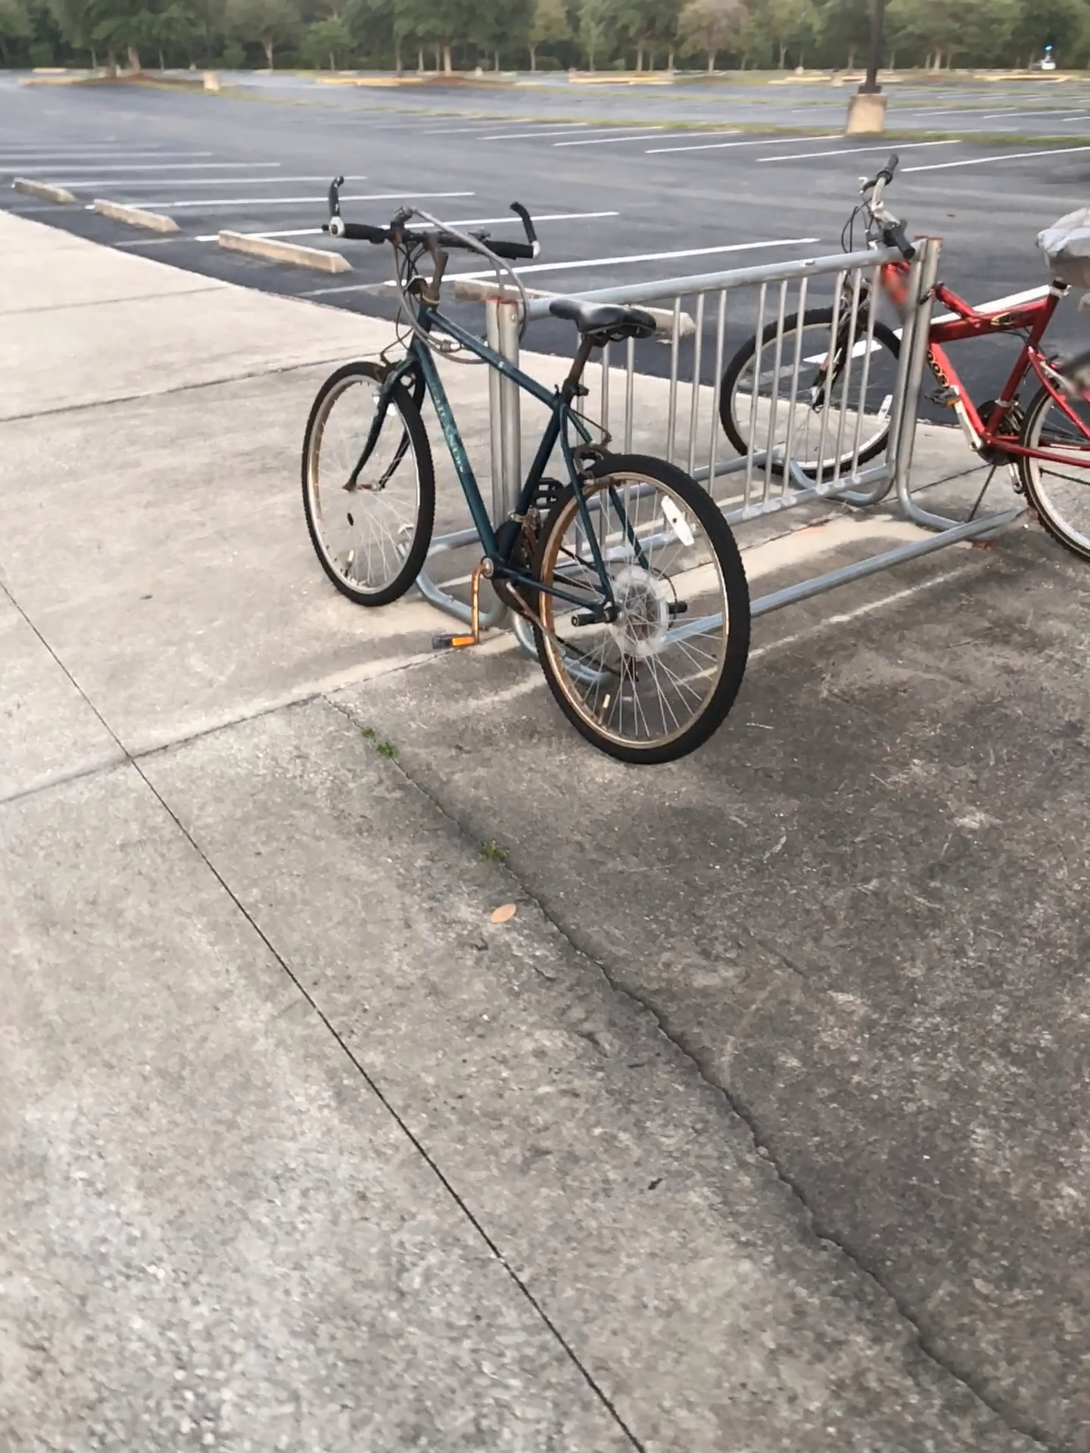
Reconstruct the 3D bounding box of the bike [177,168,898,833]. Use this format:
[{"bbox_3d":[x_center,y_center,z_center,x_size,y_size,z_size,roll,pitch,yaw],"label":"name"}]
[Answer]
[{"bbox_3d":[-0.154,-0.680,2.849,0.585,1.103,1.757,-21,34,-33],"label":"bike"}]
